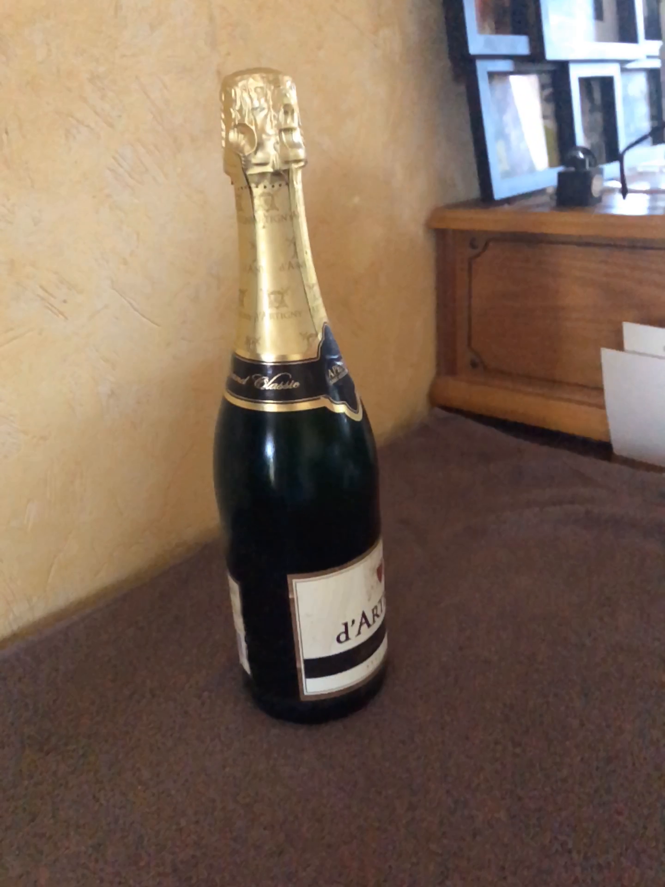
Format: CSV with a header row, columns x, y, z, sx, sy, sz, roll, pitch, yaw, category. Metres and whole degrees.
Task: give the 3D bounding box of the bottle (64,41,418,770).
x,y,z,sx,sy,sz,roll,pitch,yaw,category
-0.024,-0.009,0.361,0.100,0.318,0.101,-4,23,2,bottle
